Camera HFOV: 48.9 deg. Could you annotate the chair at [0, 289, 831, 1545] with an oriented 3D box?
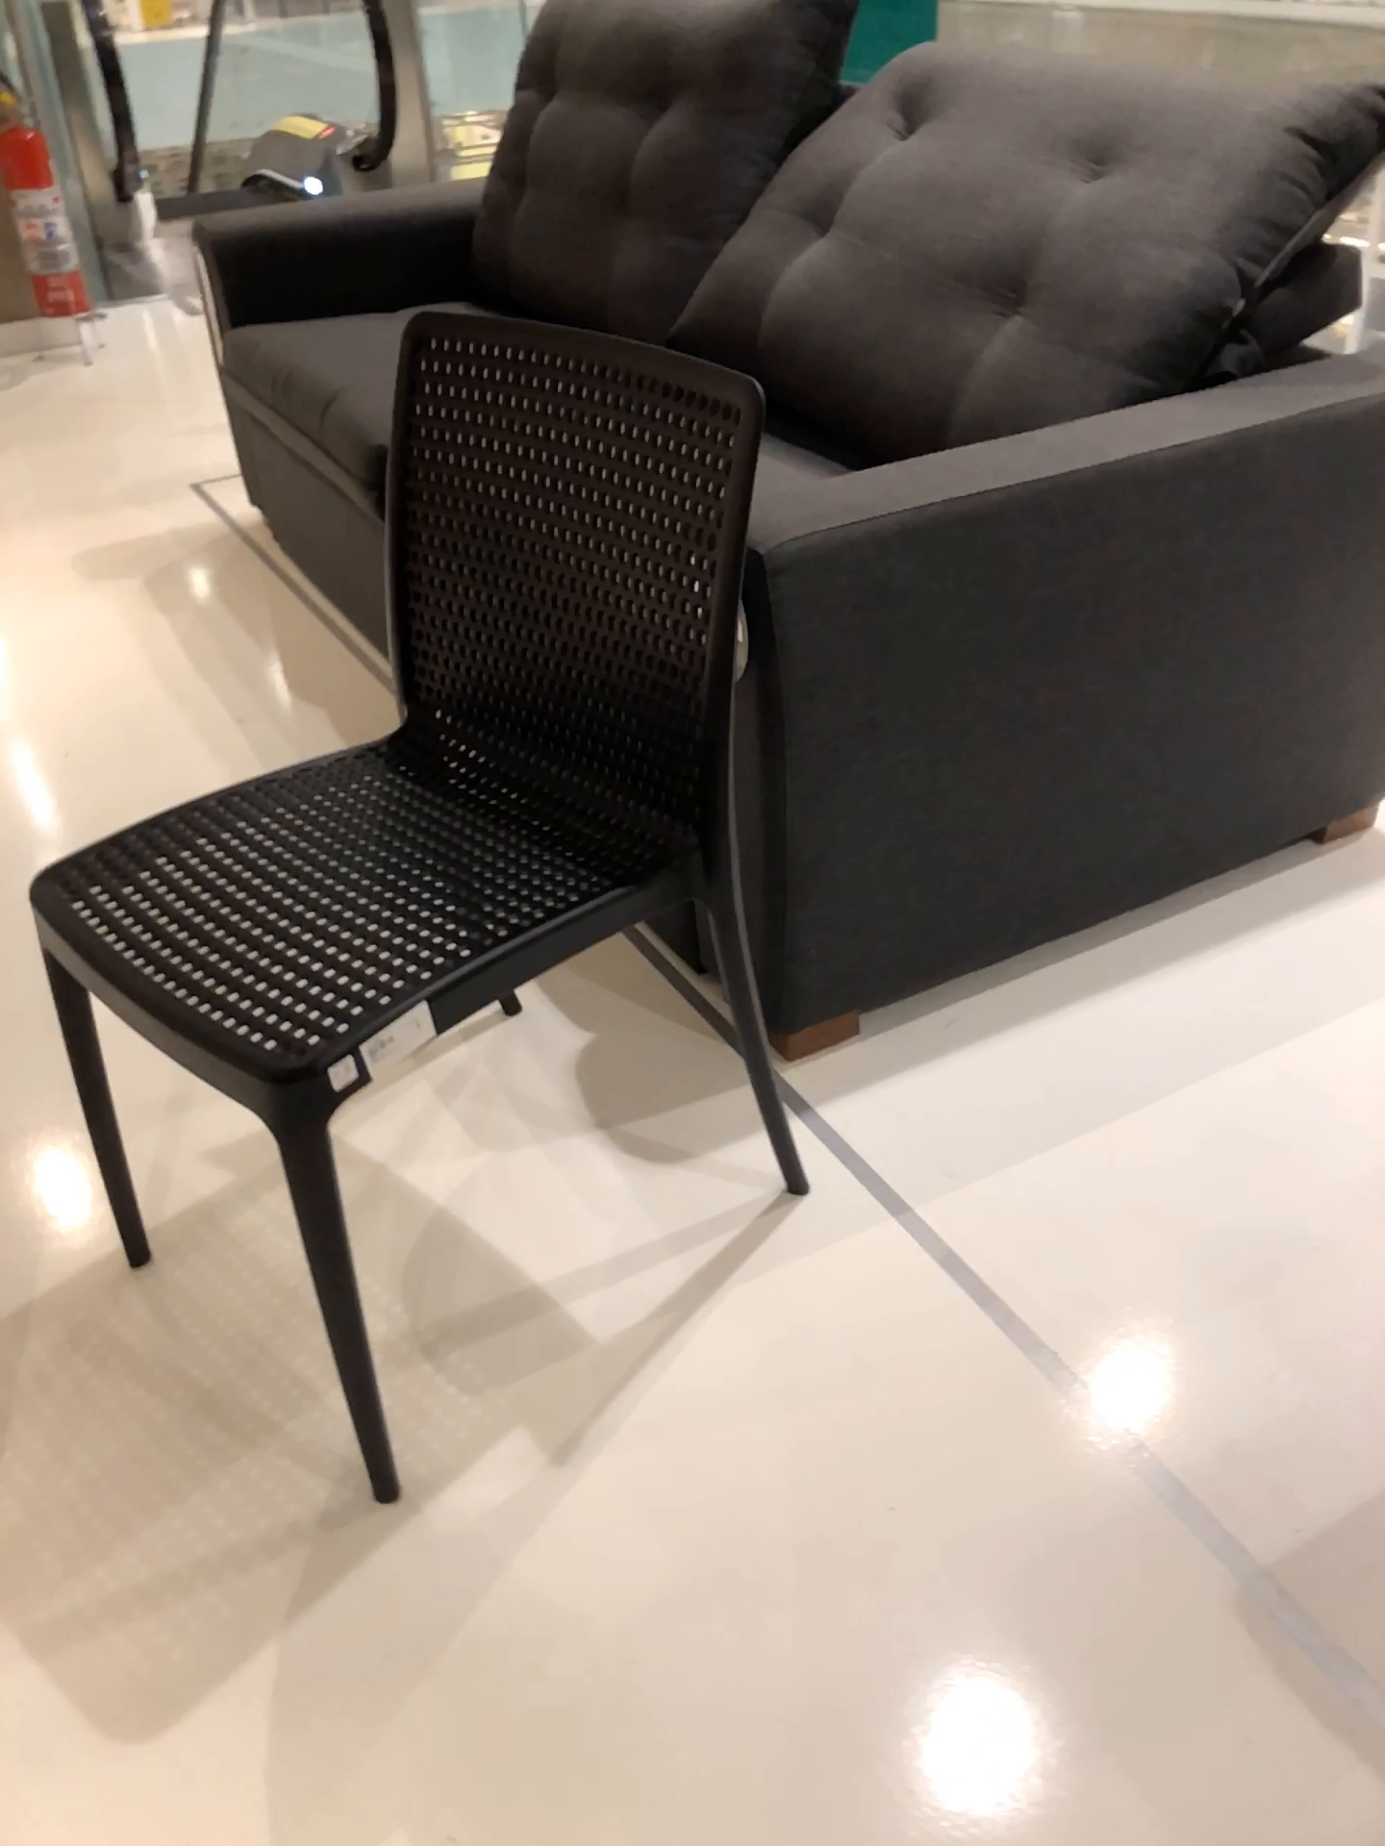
[{"bbox_3d":[-0.265,-0.049,1.315,0.532,0.783,0.562,25,43,36],"label":"chair"}]
